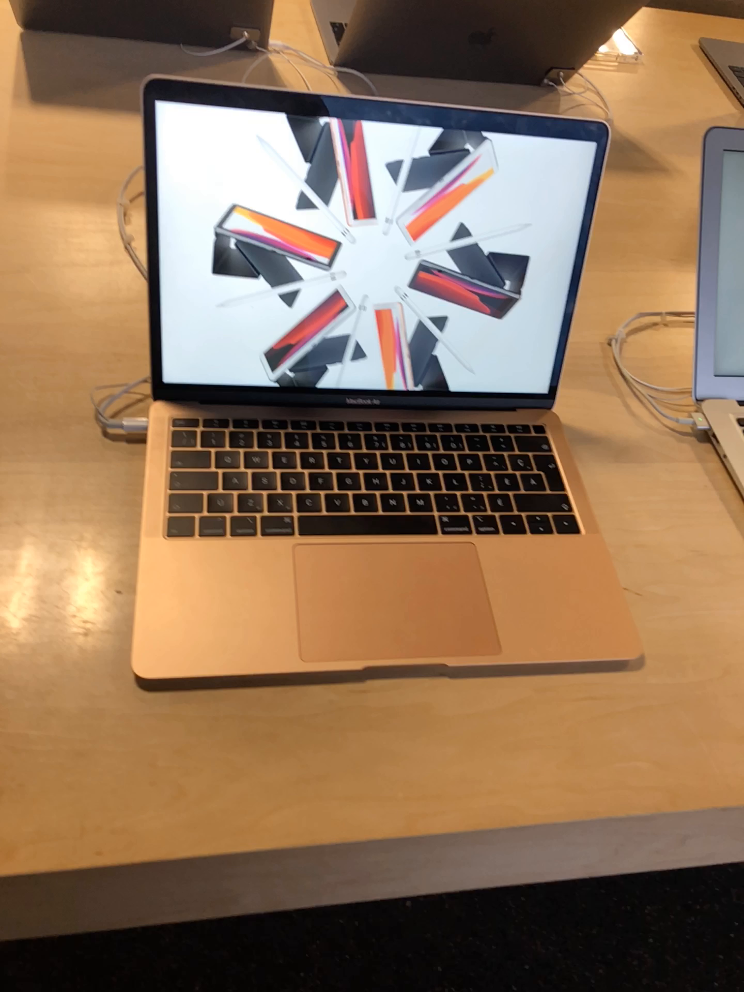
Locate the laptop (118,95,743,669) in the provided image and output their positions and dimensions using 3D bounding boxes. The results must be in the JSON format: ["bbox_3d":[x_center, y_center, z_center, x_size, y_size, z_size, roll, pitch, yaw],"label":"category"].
[{"bbox_3d":[0.020,-0.072,0.490,0.291,0.183,0.284,1,49,-10],"label":"laptop"}]
